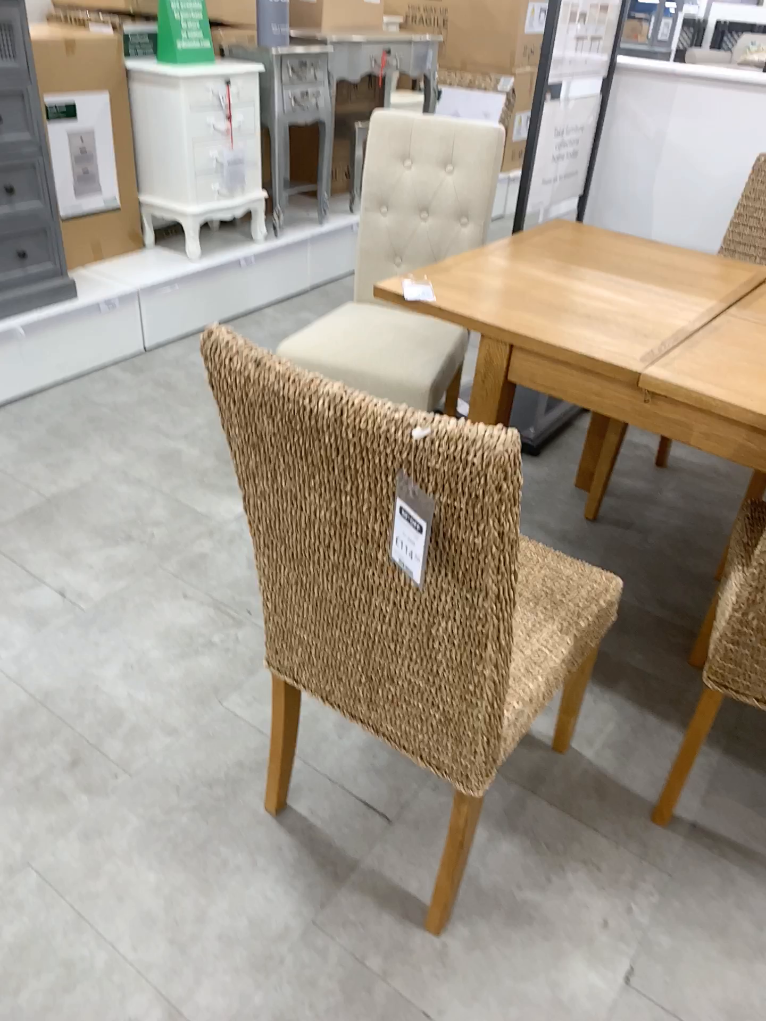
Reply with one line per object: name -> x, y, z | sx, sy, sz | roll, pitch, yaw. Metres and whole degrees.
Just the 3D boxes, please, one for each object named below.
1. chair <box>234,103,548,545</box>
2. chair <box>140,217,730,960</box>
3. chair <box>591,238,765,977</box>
chair -> 0.032, -0.506, 1.979 | 0.426, 0.840, 0.729 | 19, 37, 20
chair -> 0.068, 0.081, 1.207 | 0.507, 0.840, 0.577 | 25, 39, 28
chair -> 0.759, 0.122, 1.239 | 0.526, 0.870, 0.568 | 20, 37, 22
